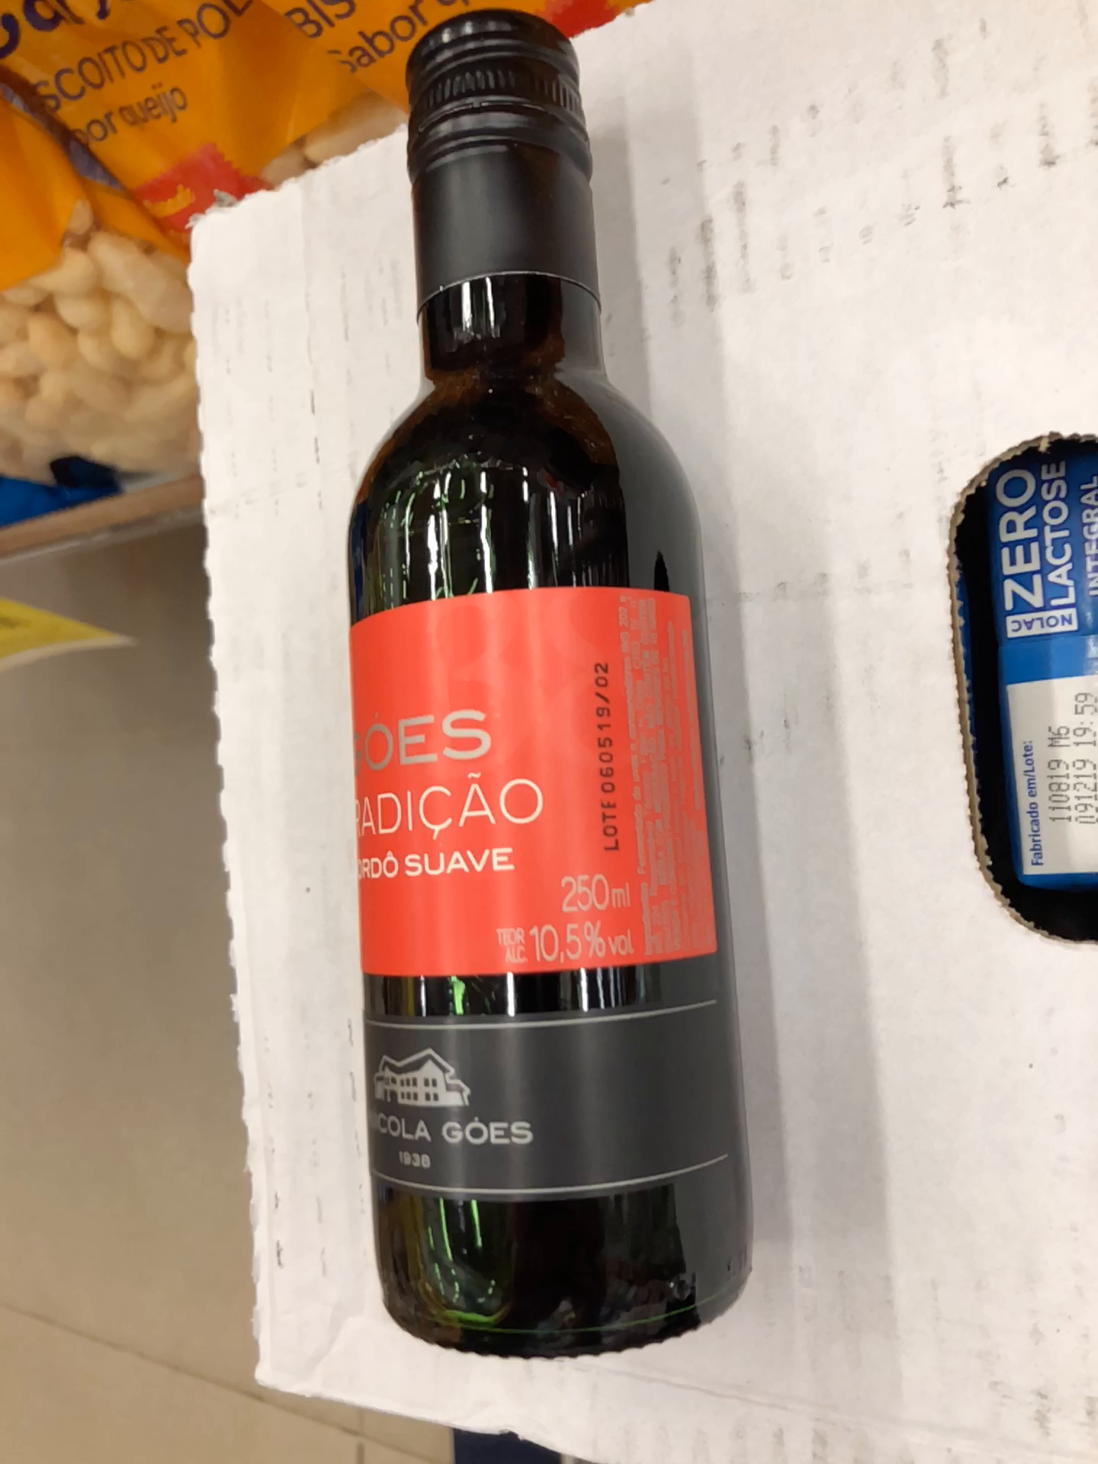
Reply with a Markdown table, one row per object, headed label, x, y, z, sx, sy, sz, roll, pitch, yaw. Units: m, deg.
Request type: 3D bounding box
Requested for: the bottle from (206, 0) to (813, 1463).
| label | x | y | z | sx | sy | sz | roll | pitch | yaw |
| --- | --- | --- | --- | --- | --- | --- | --- | --- | --- |
| bottle | -0.008 | -0.018 | 0.180 | 0.060 | 0.050 | 0.210 | -8 | 82 | 35 |
